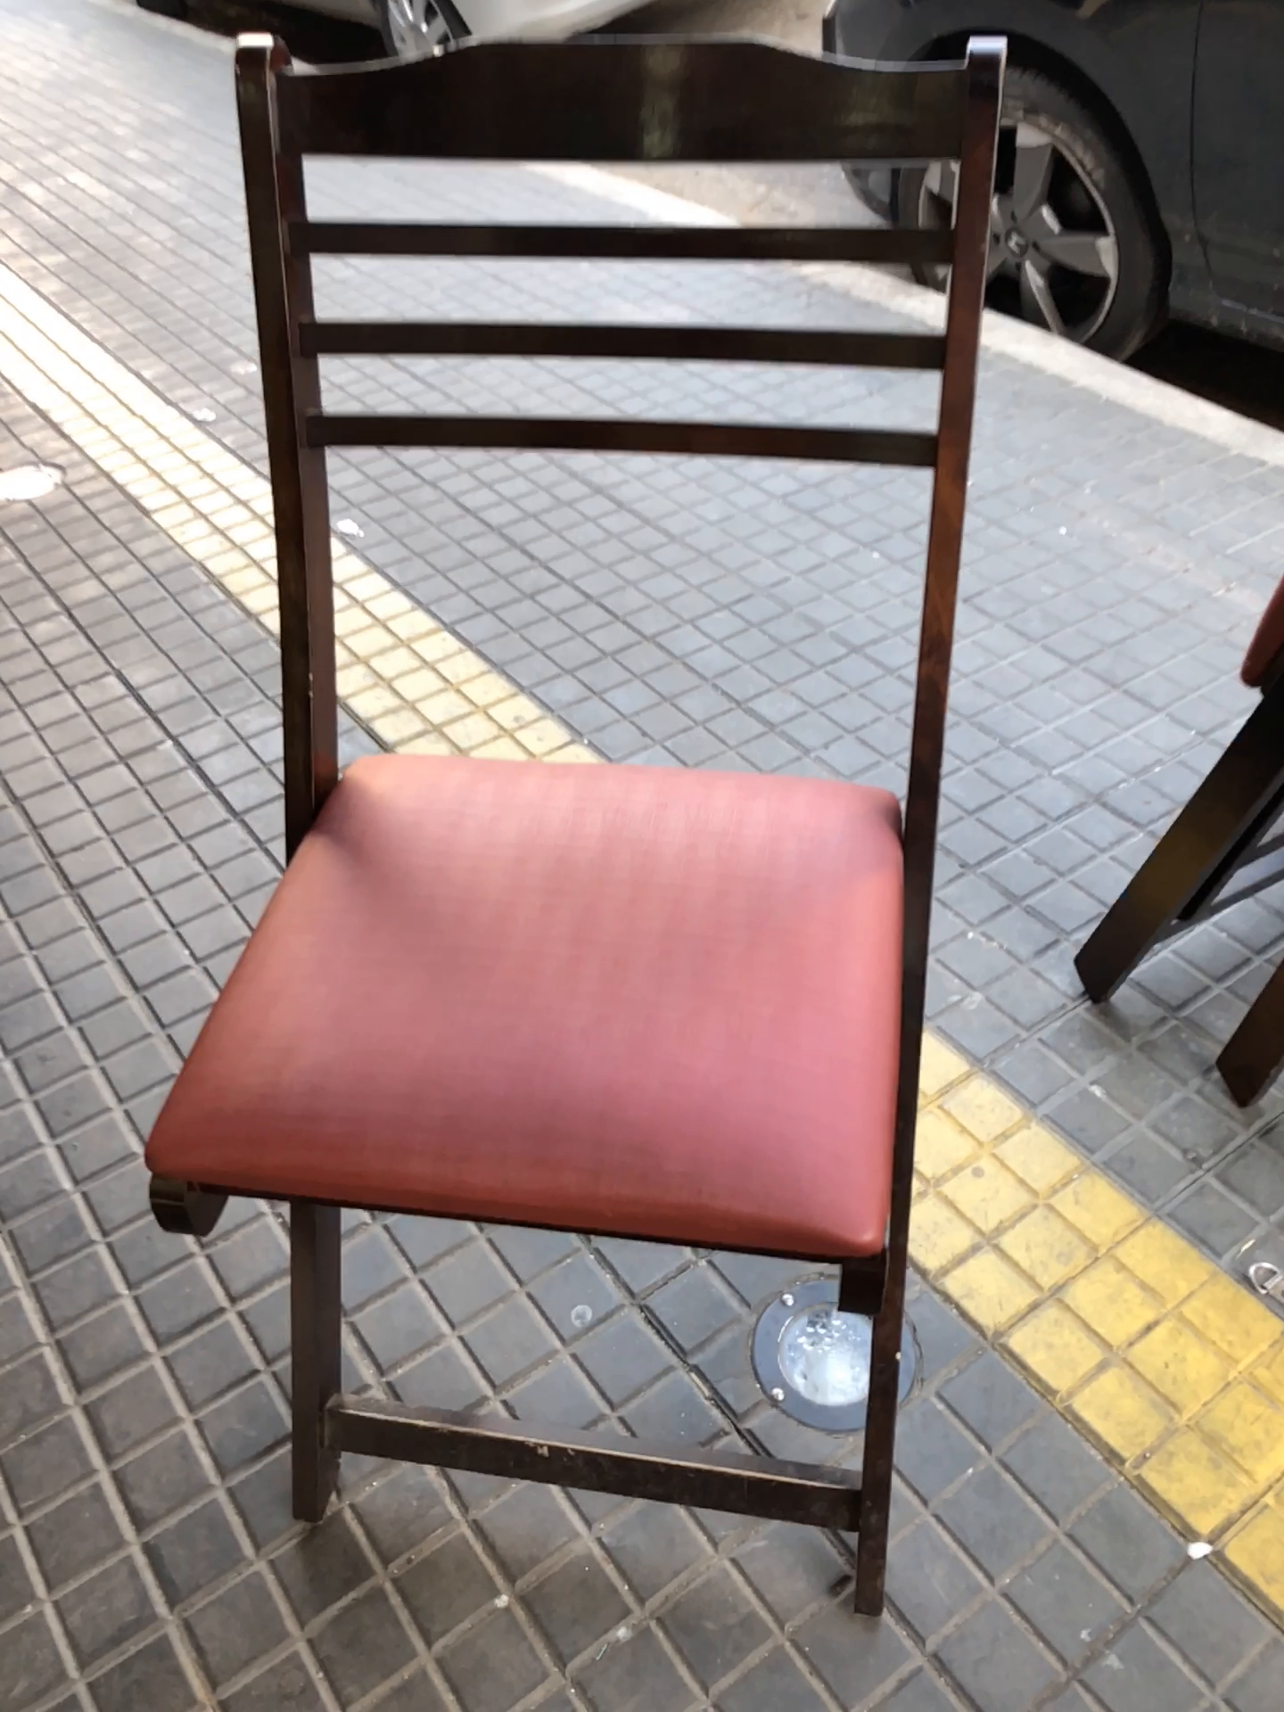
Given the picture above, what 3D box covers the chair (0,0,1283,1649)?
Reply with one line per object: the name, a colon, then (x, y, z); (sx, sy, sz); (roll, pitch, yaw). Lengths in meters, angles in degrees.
chair: (-0.008, -0.007, 0.799); (0.510, 0.844, 0.483); (4, 43, 10)
